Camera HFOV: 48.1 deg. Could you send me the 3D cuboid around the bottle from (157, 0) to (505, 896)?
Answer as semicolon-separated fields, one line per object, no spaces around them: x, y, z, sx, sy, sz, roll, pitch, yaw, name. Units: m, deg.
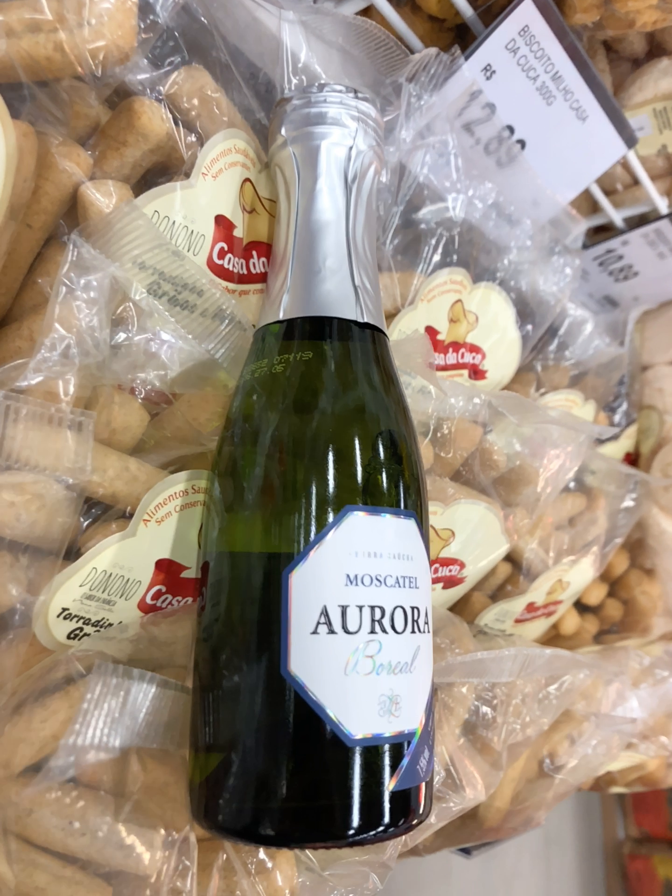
0.004;-0.012;0.185;0.060;0.050;0.200;13;77;-52;bottle
